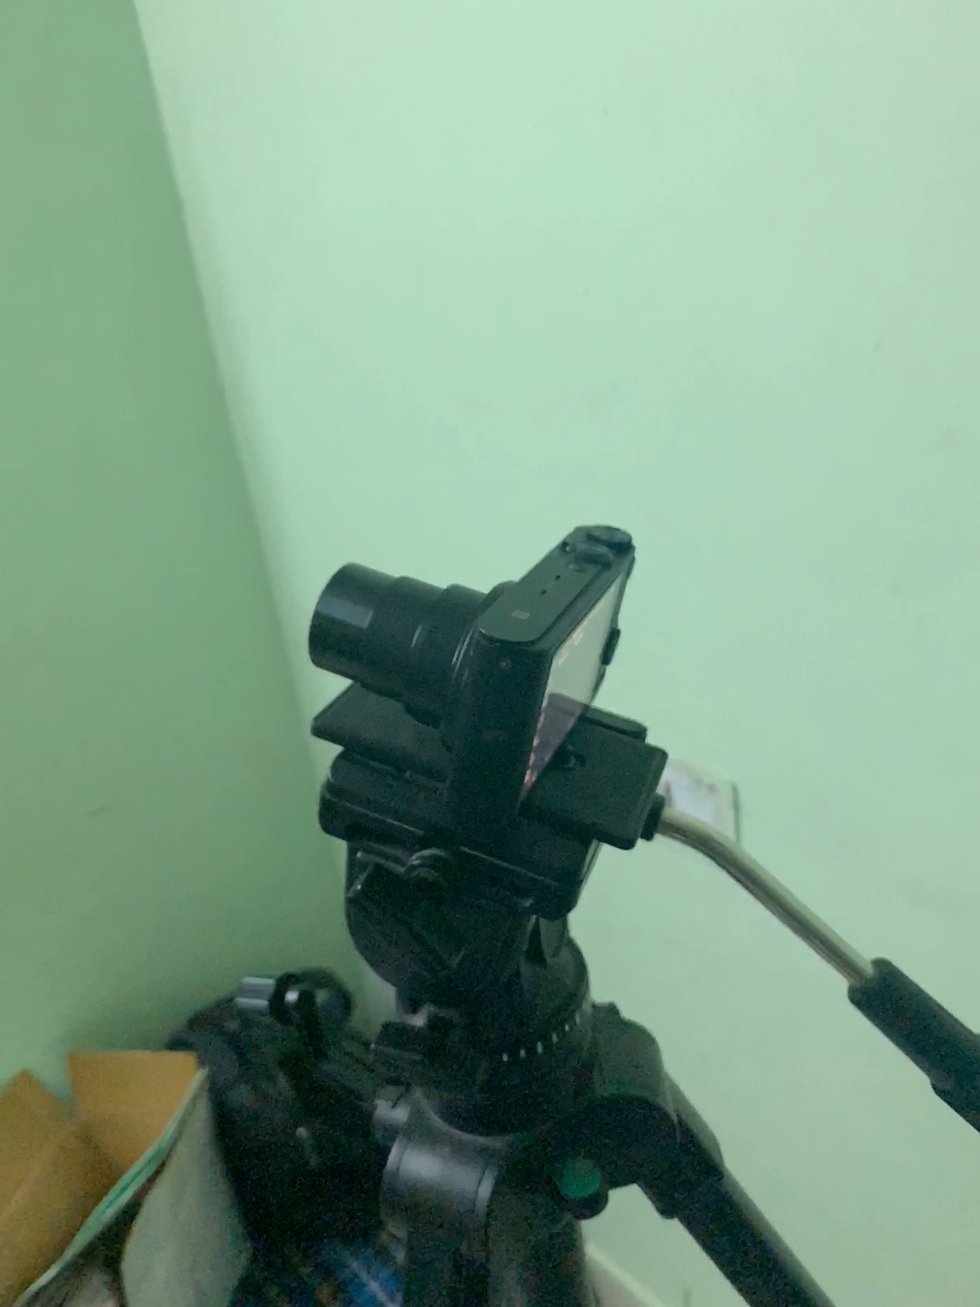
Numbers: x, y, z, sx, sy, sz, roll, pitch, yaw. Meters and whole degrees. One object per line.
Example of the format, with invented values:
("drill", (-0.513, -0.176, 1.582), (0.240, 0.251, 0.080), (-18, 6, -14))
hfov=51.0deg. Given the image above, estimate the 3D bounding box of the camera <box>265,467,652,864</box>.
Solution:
("camera", (-0.005, -0.004, 0.288), (0.068, 0.060, 0.102), (17, 28, 16))
